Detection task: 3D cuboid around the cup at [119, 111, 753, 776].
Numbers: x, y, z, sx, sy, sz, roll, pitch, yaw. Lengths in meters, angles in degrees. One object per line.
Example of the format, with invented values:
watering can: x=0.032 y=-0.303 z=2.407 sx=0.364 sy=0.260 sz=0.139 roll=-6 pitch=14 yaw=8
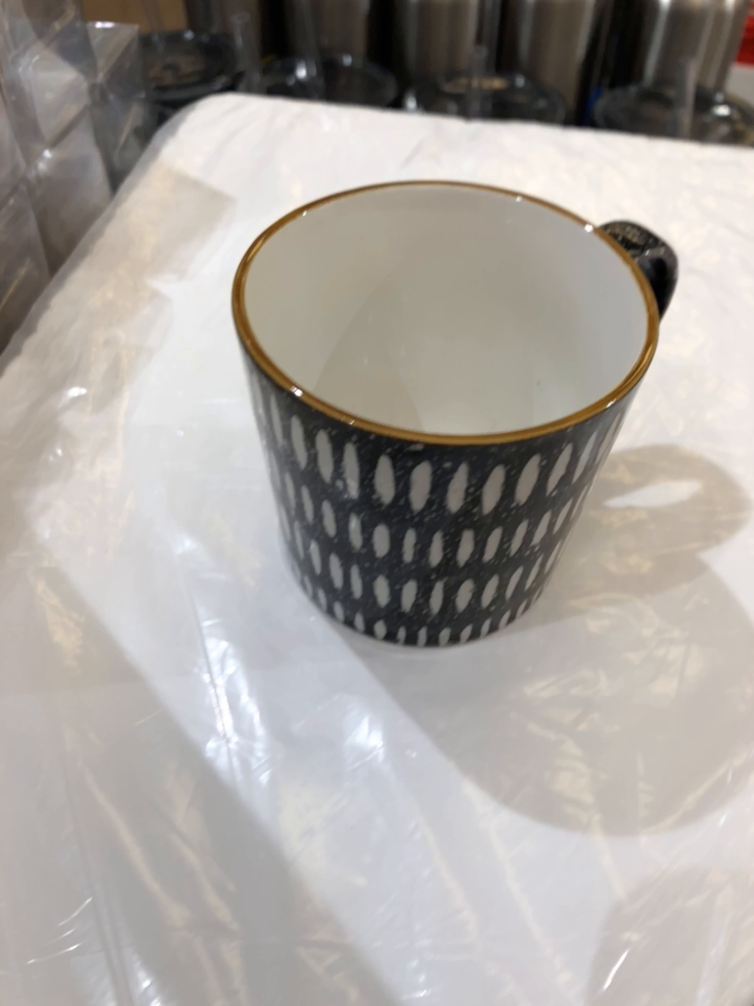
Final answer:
cup: x=0.019 y=-0.019 z=0.192 sx=0.110 sy=0.080 sz=0.080 roll=-31 pitch=56 yaw=-24
